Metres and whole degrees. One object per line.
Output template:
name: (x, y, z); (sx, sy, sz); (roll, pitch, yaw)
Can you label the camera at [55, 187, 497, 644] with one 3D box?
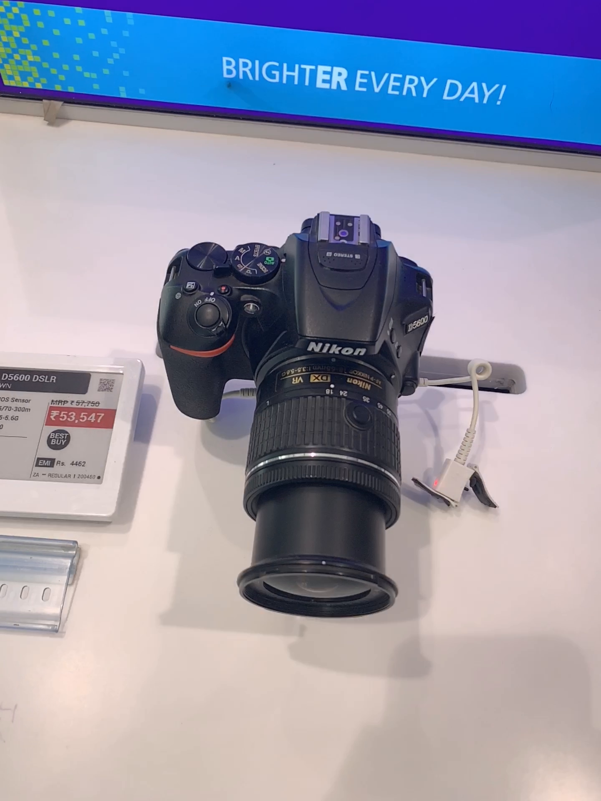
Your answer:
camera: (-0.005, 0.007, 0.243); (0.116, 0.100, 0.141); (4, 56, 0)
